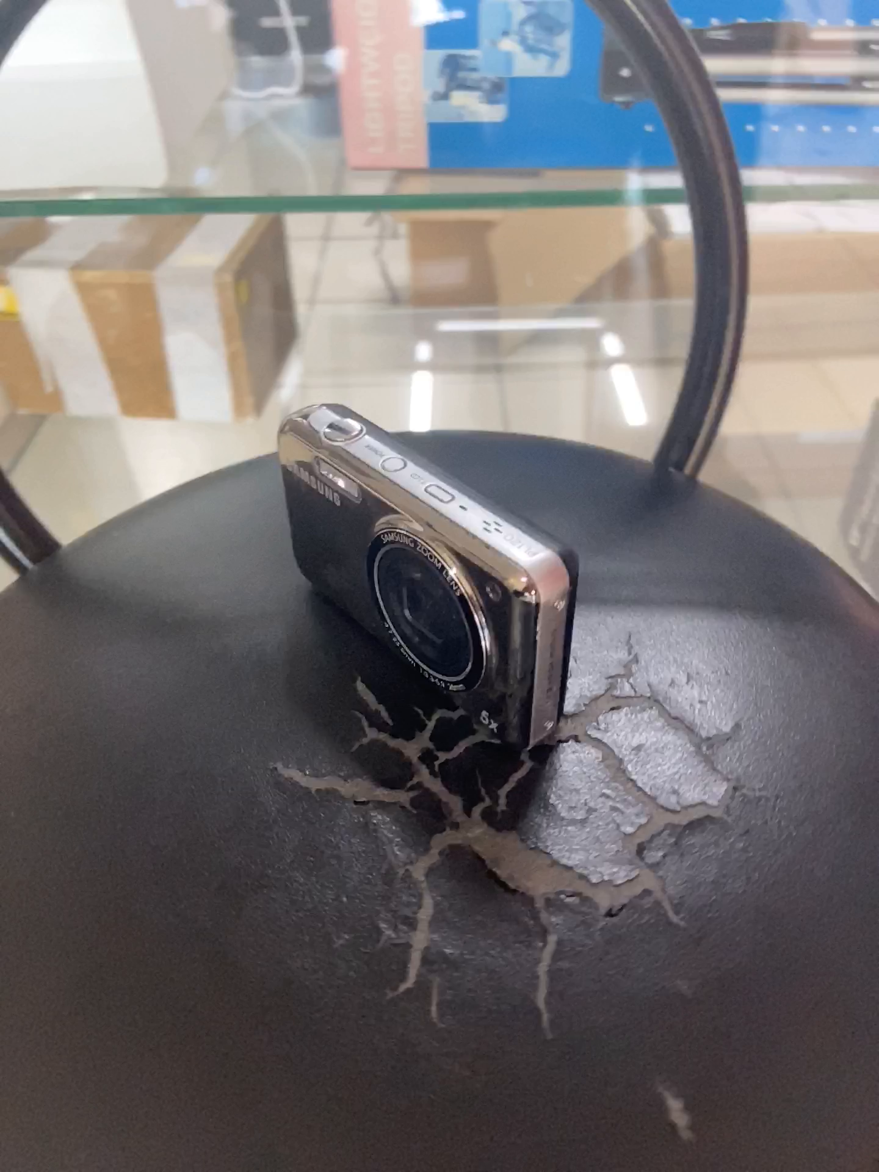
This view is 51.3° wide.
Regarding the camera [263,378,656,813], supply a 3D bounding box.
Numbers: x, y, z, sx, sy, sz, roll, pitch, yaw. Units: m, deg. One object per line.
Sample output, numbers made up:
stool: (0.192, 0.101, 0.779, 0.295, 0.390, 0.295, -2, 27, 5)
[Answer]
camera: (0.001, -0.002, 0.225, 0.030, 0.060, 0.100, -30, 47, -29)
